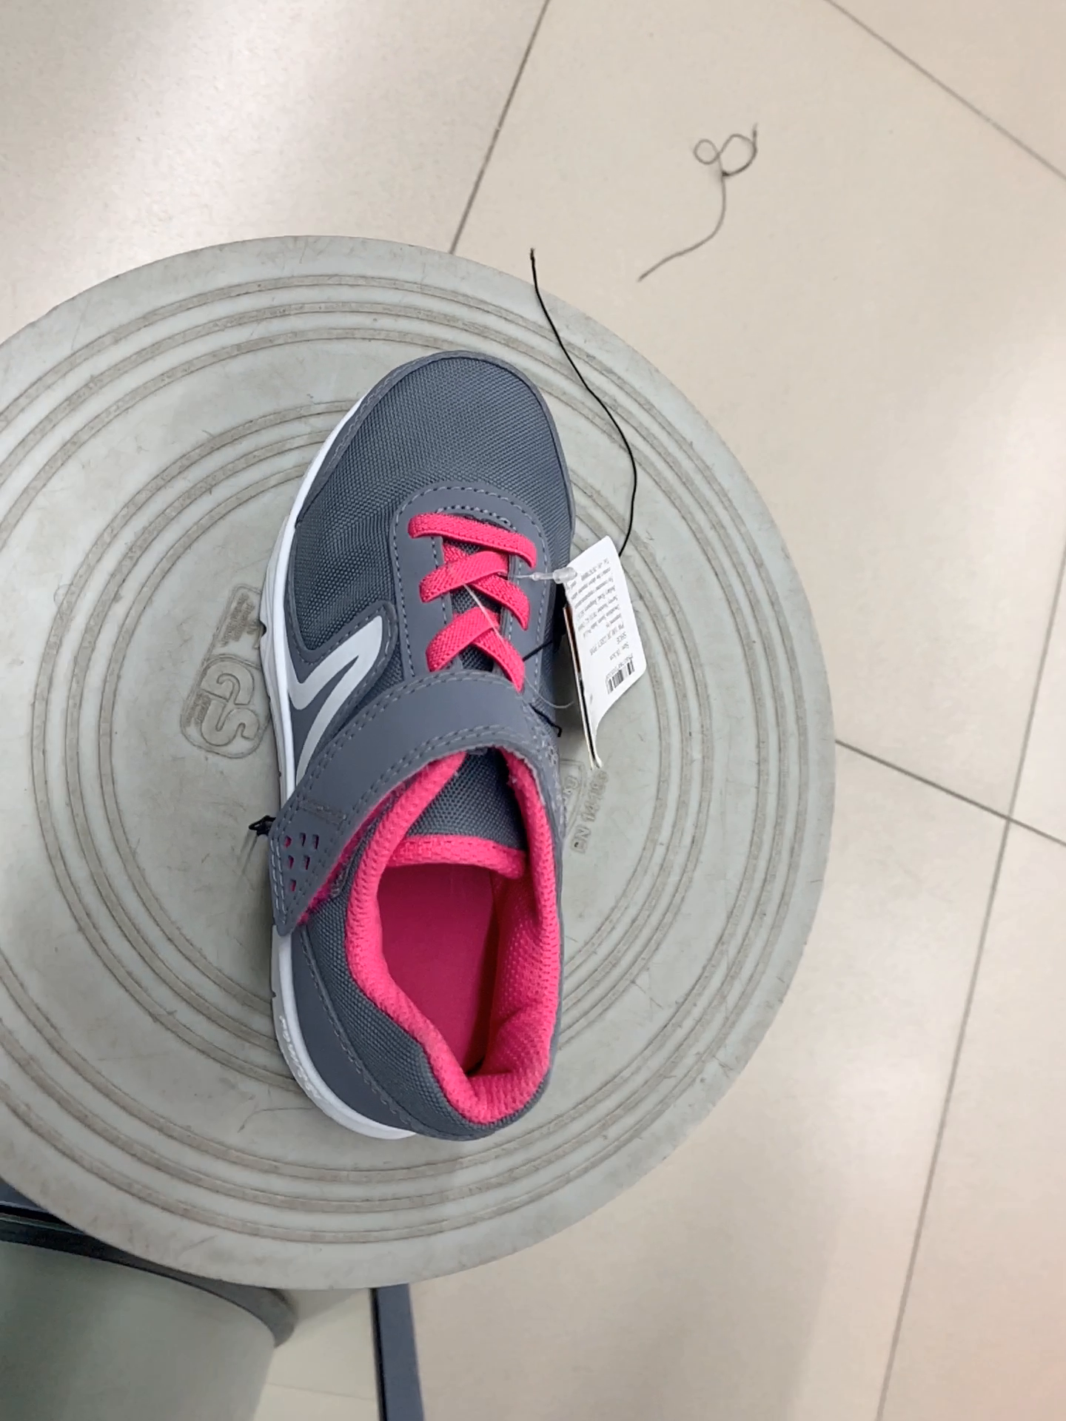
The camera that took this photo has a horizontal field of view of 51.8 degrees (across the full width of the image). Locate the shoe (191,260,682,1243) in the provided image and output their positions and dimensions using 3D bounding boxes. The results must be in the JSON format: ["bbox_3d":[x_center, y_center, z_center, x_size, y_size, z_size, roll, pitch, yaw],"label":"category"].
[{"bbox_3d":[-0.025,0.010,0.243,0.070,0.090,0.170,7,82,-22],"label":"shoe"}]
